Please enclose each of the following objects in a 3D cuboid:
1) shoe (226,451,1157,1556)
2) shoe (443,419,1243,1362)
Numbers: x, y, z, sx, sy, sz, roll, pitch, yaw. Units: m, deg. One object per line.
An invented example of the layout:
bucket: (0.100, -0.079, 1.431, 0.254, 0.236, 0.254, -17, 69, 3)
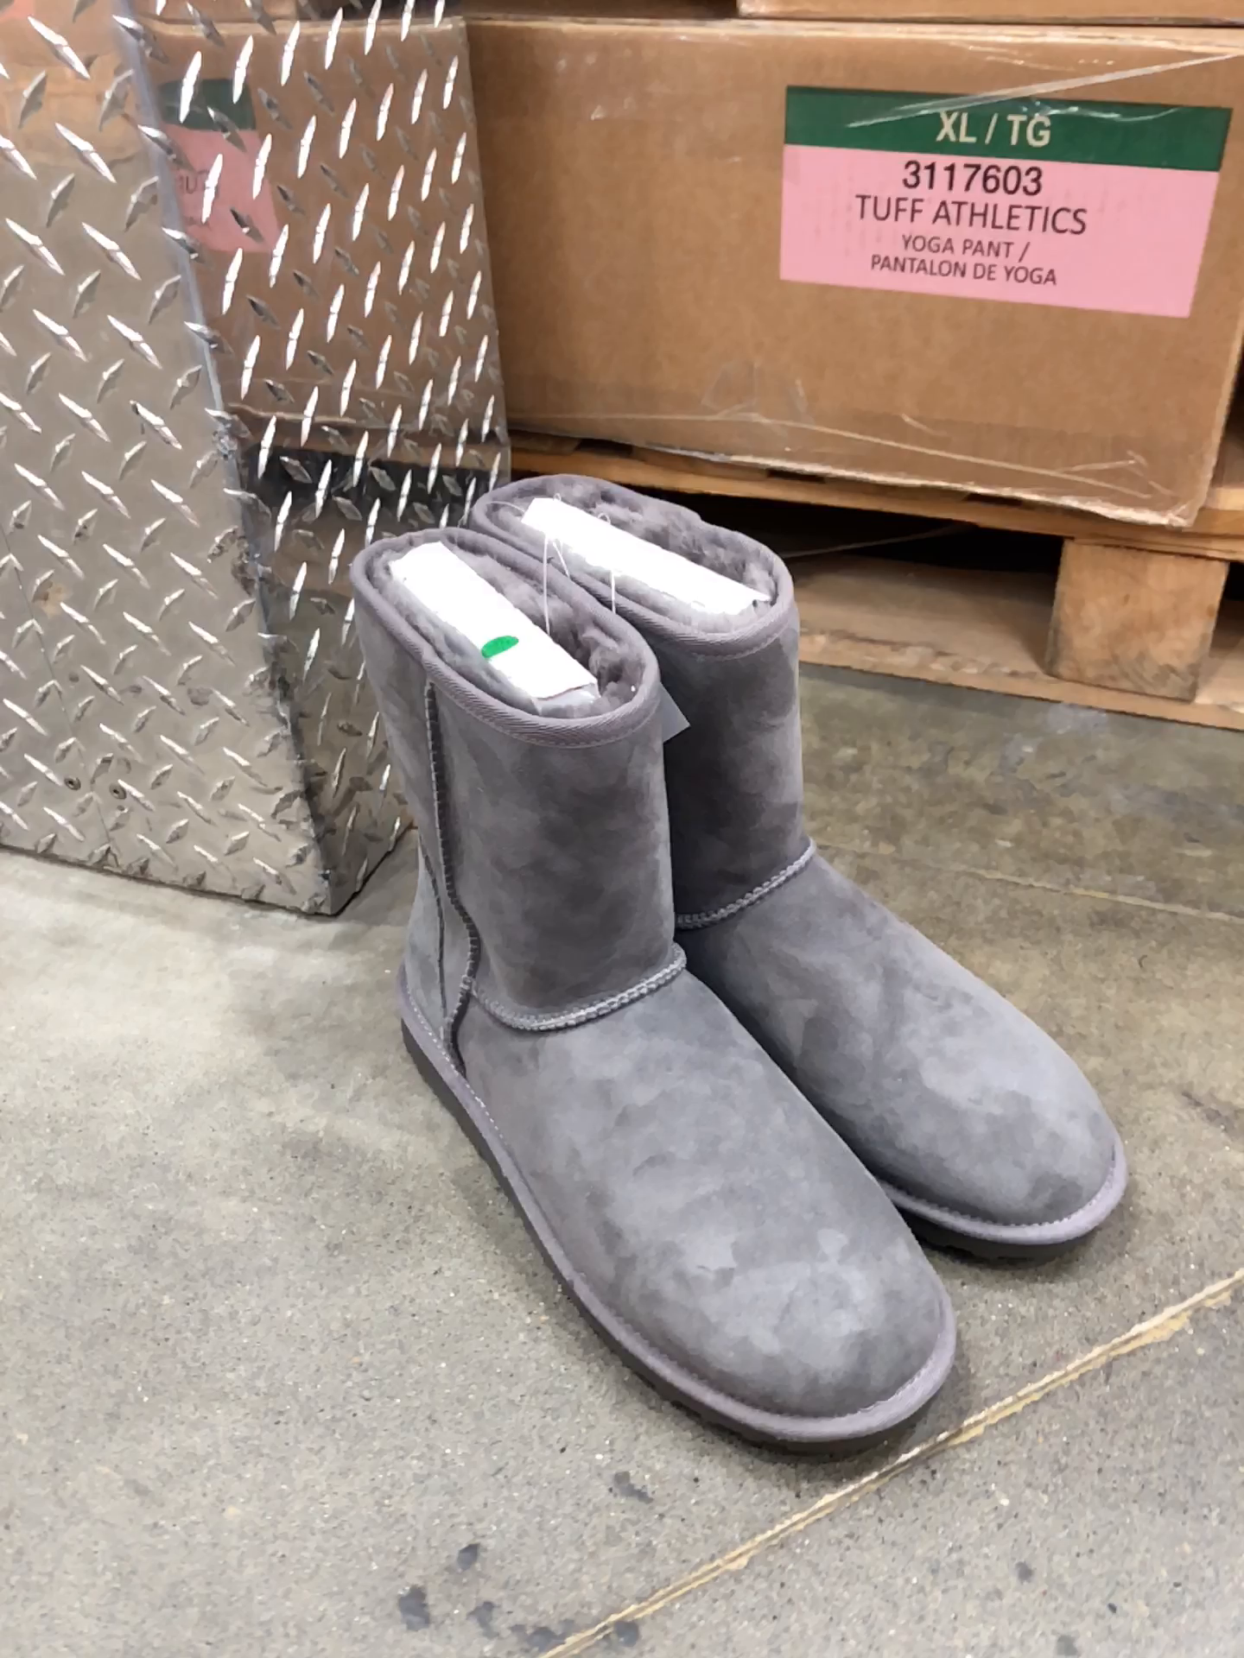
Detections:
shoe: (0.004, 0.041, 0.473, 0.120, 0.239, 0.281, -26, 43, -27)
shoe: (0.078, 0.011, 0.513, 0.271, 0.239, 0.110, 29, 47, 35)
